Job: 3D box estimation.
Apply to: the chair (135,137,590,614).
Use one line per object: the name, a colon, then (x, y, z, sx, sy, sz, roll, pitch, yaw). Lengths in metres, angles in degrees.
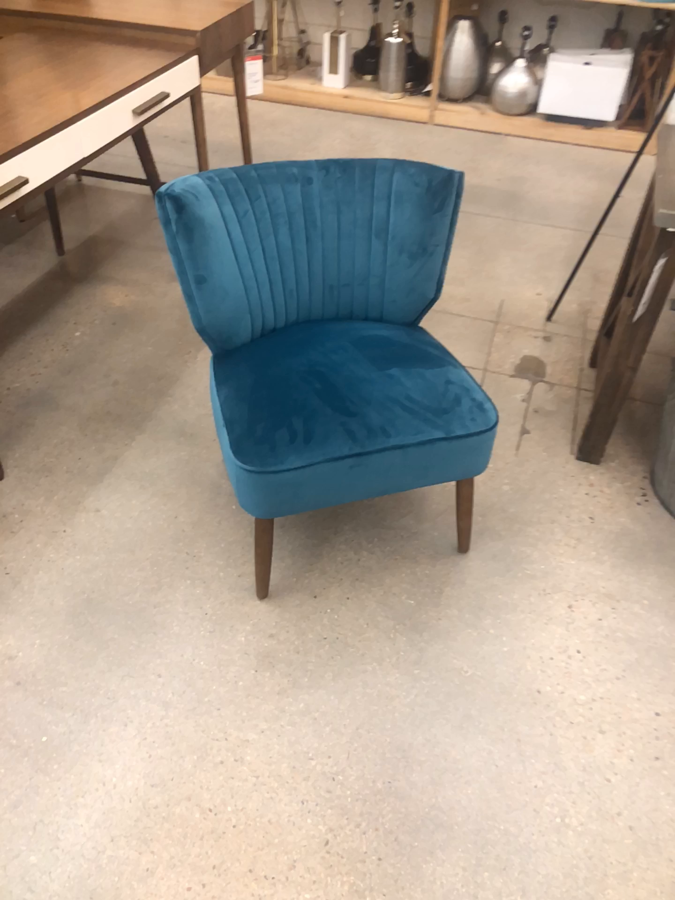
chair: (-0.010, -0.193, 1.598, 0.661, 0.676, 0.663, -11, 43, -15)
